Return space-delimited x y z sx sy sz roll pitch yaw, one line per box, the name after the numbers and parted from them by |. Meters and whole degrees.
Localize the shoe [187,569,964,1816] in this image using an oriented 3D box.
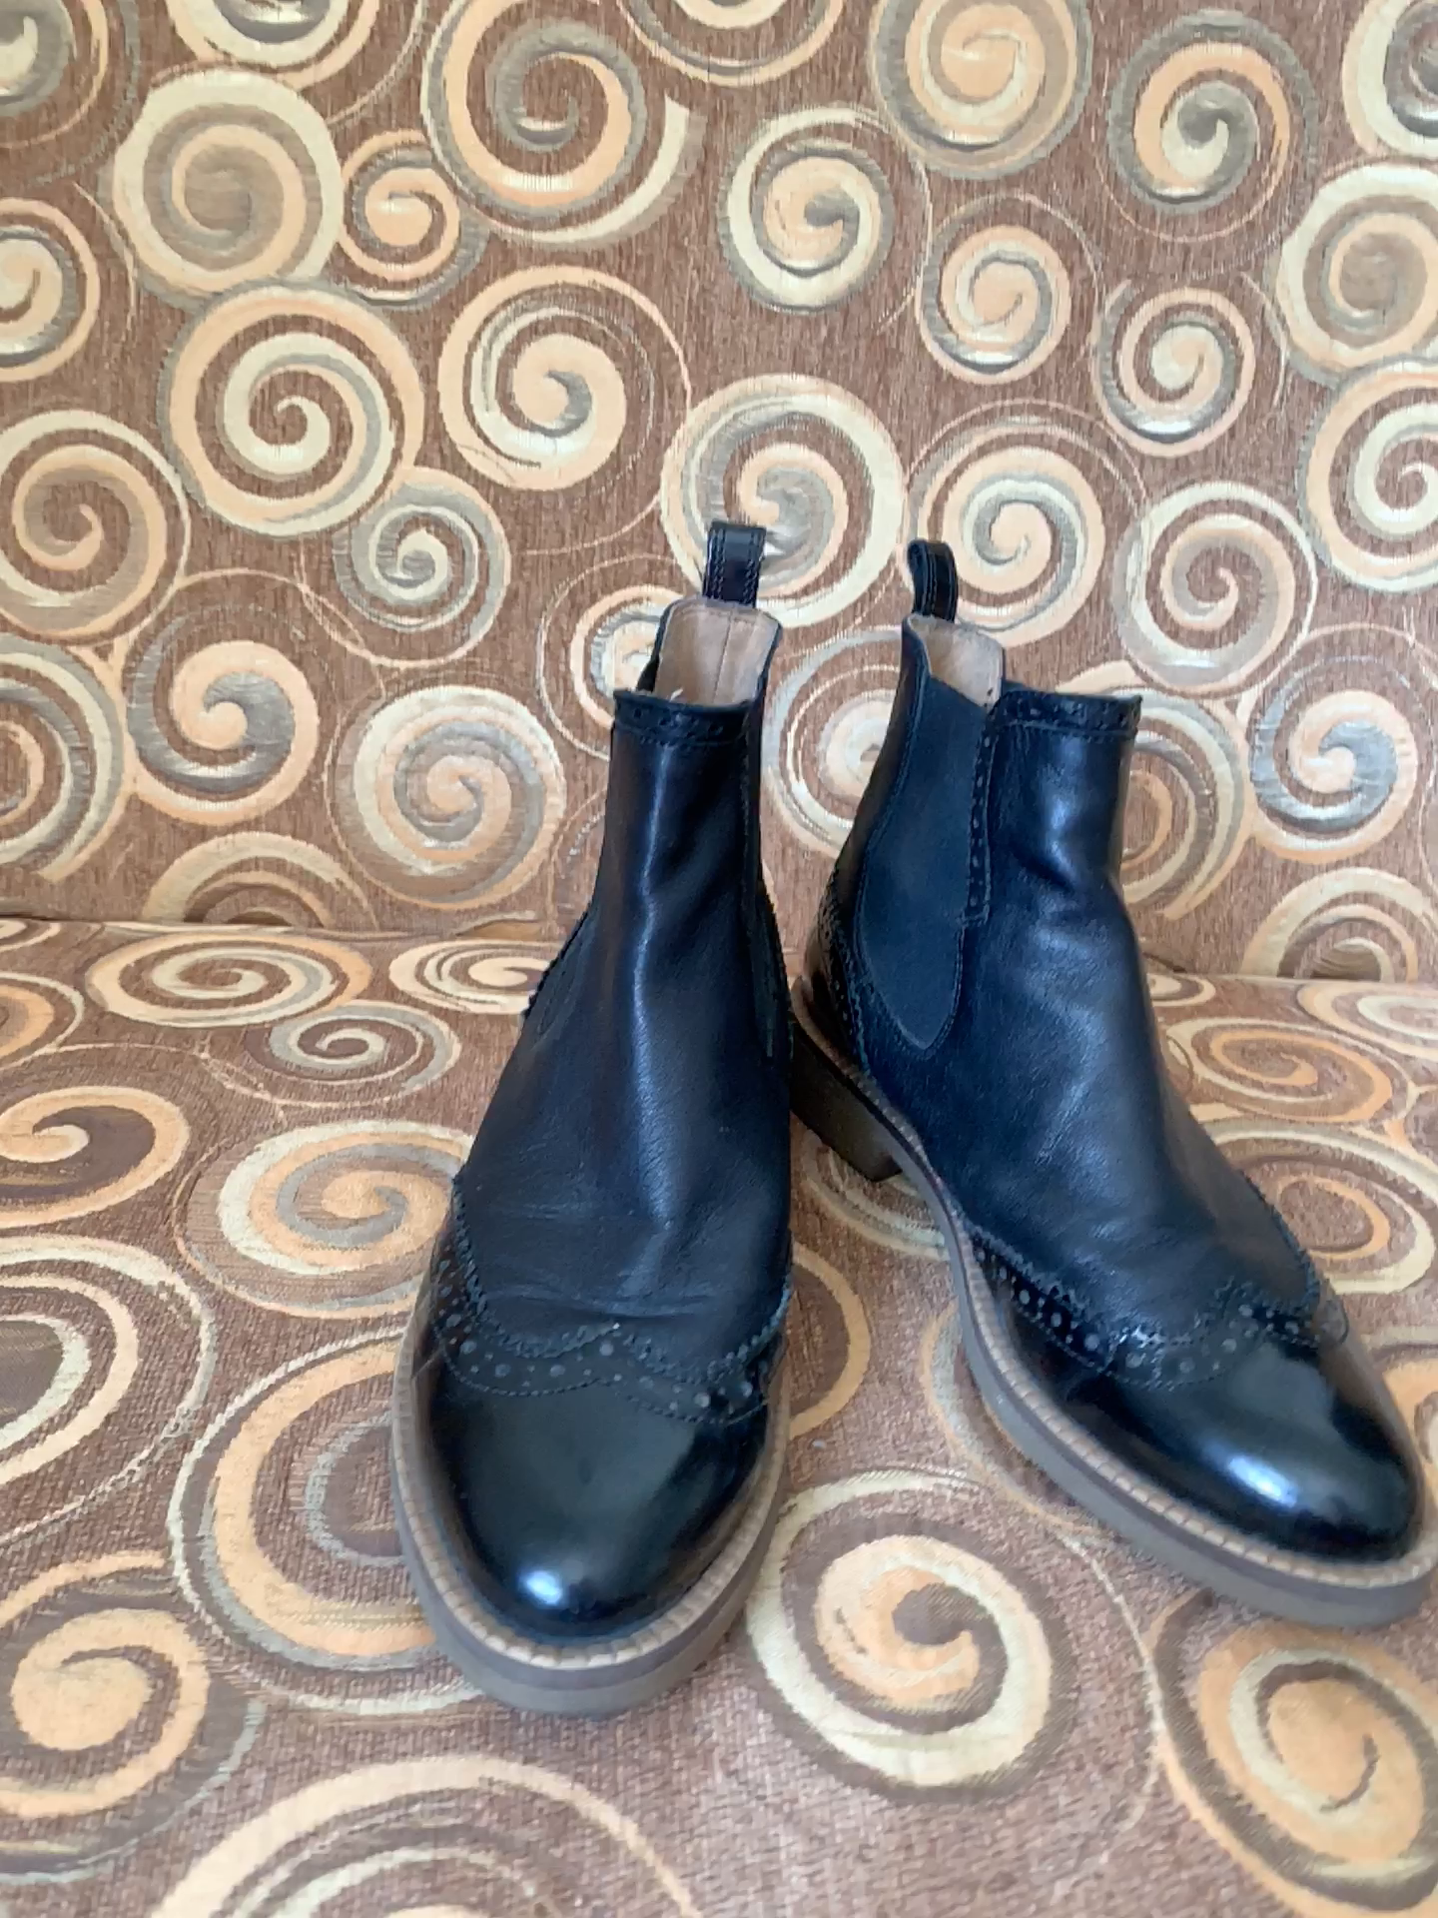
-0.008 0.019 0.325 0.100 0.139 0.241 8 29 5 | shoe

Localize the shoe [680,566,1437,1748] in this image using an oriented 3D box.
0.089 0.010 0.375 0.100 0.139 0.291 -6 31 -20 | shoe
